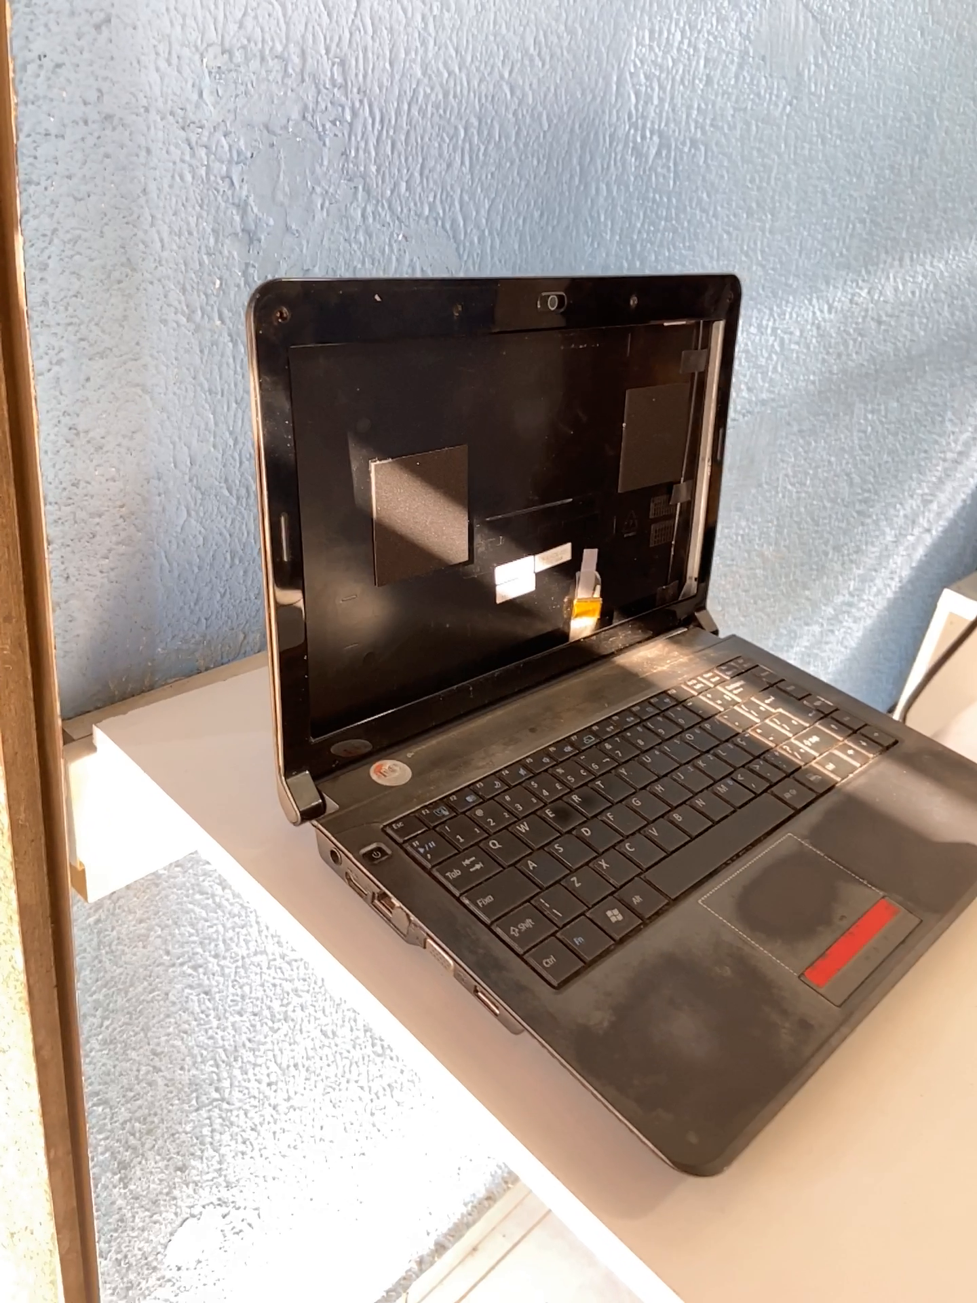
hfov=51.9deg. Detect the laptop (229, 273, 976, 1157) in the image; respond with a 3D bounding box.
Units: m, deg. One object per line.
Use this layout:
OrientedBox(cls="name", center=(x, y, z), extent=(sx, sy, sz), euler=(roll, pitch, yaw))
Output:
OrientedBox(cls="laptop", center=(0.105, -0.028, 0.472), extent=(0.335, 0.216, 0.276), euler=(-19, 40, -42))
